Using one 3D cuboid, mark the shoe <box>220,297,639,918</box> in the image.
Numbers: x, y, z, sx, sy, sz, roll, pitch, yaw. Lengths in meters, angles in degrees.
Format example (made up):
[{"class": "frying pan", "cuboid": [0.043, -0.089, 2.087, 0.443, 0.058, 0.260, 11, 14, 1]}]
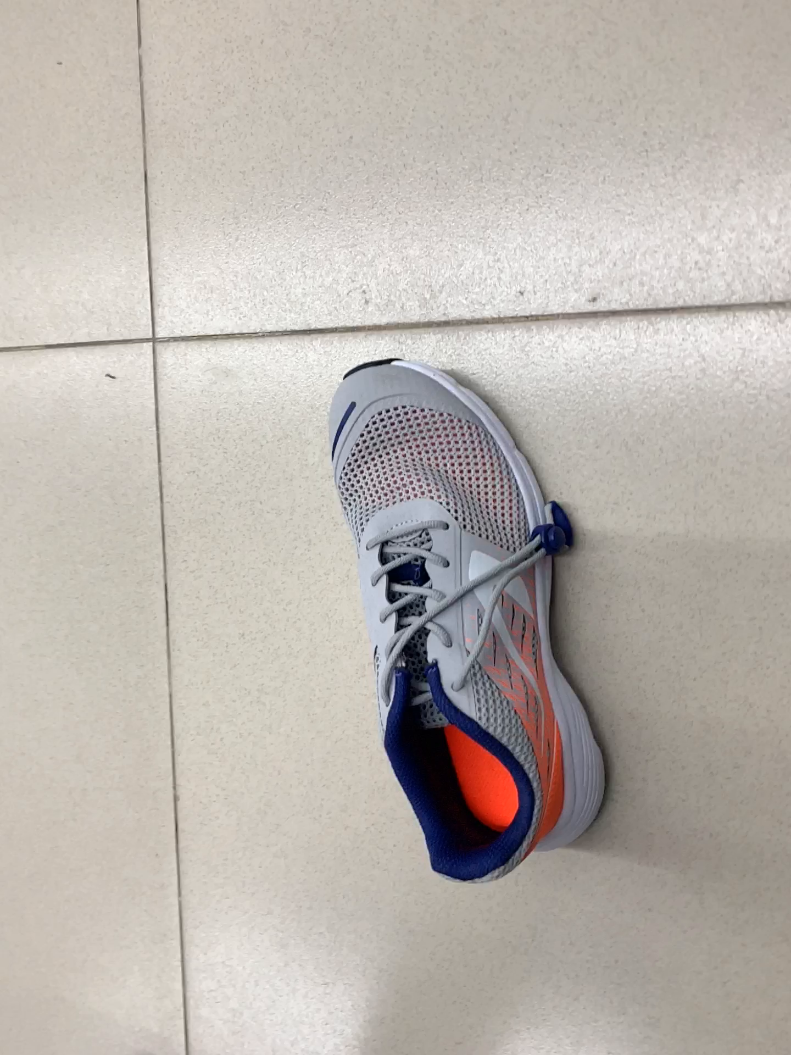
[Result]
[{"class": "shoe", "cuboid": [0.022, 0.036, 0.384, 0.100, 0.100, 0.250, -16, 90, 28]}]
